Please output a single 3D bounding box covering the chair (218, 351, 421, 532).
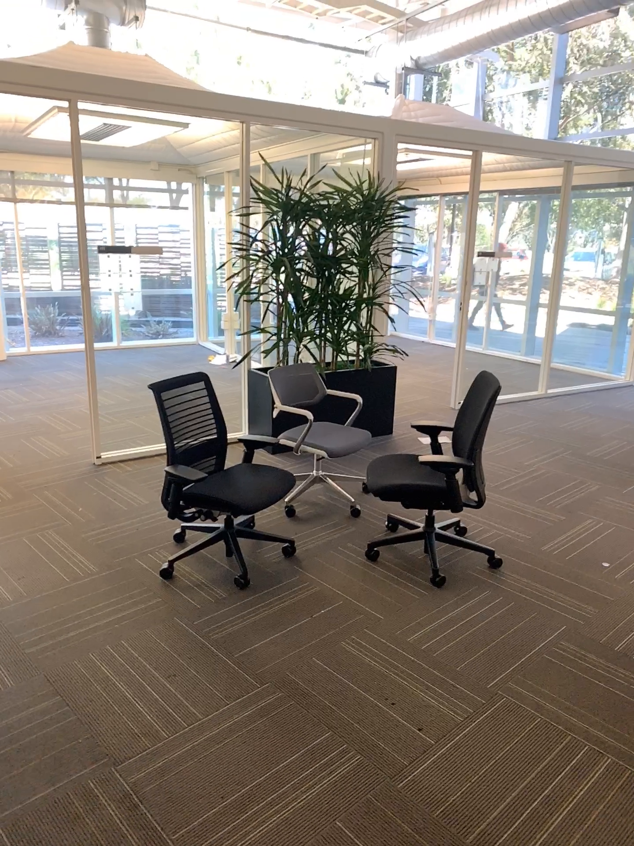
[{"bbox_3d":[0.009,0.046,4.067,0.923,0.797,0.841,14,20,38],"label":"chair"}]

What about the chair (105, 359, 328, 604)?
[{"bbox_3d":[-0.468,0.217,3.234,0.722,0.886,0.811,10,17,27],"label":"chair"}]

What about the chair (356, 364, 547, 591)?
[{"bbox_3d":[0.611,0.227,3.324,0.760,0.886,0.853,2,15,1],"label":"chair"}]
